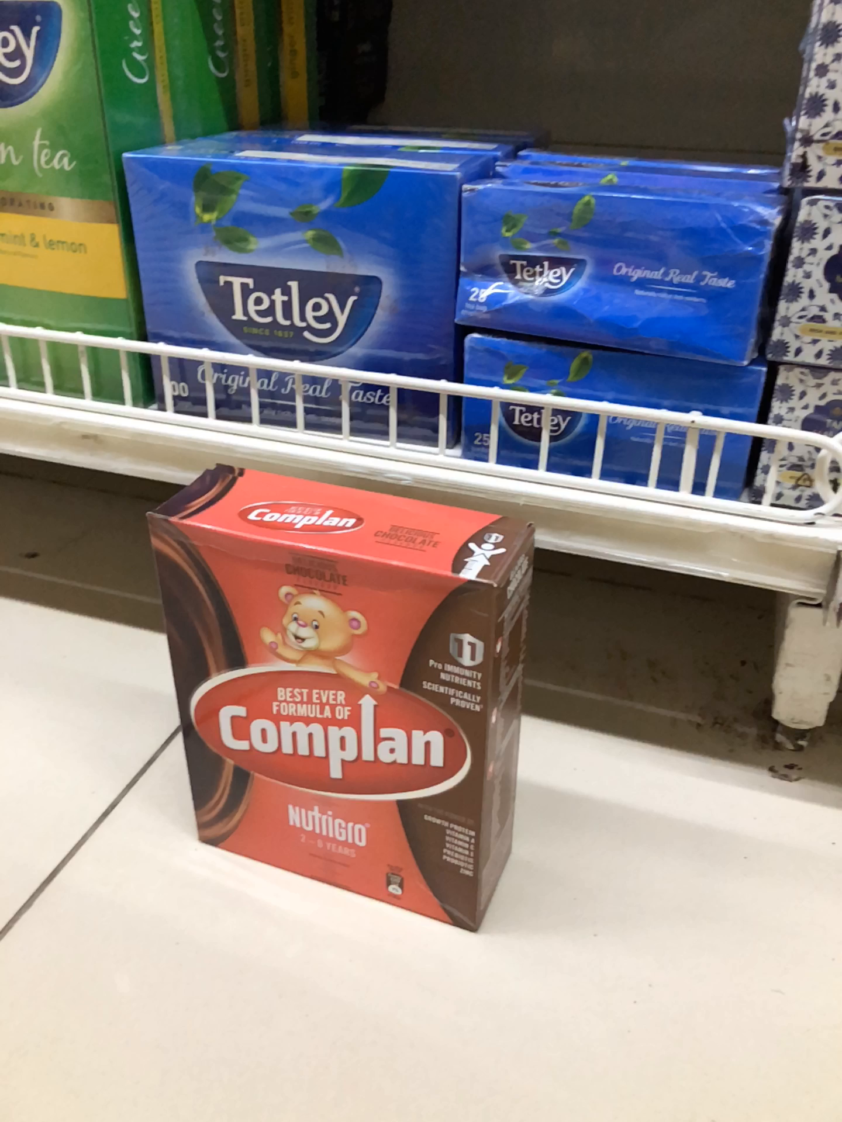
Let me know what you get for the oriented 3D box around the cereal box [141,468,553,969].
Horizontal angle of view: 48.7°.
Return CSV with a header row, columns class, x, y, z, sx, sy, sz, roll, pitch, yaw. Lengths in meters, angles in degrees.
class,x,y,z,sx,sy,sz,roll,pitch,yaw
cereal box,-0.027,0.065,0.379,0.140,0.179,0.050,12,32,19
